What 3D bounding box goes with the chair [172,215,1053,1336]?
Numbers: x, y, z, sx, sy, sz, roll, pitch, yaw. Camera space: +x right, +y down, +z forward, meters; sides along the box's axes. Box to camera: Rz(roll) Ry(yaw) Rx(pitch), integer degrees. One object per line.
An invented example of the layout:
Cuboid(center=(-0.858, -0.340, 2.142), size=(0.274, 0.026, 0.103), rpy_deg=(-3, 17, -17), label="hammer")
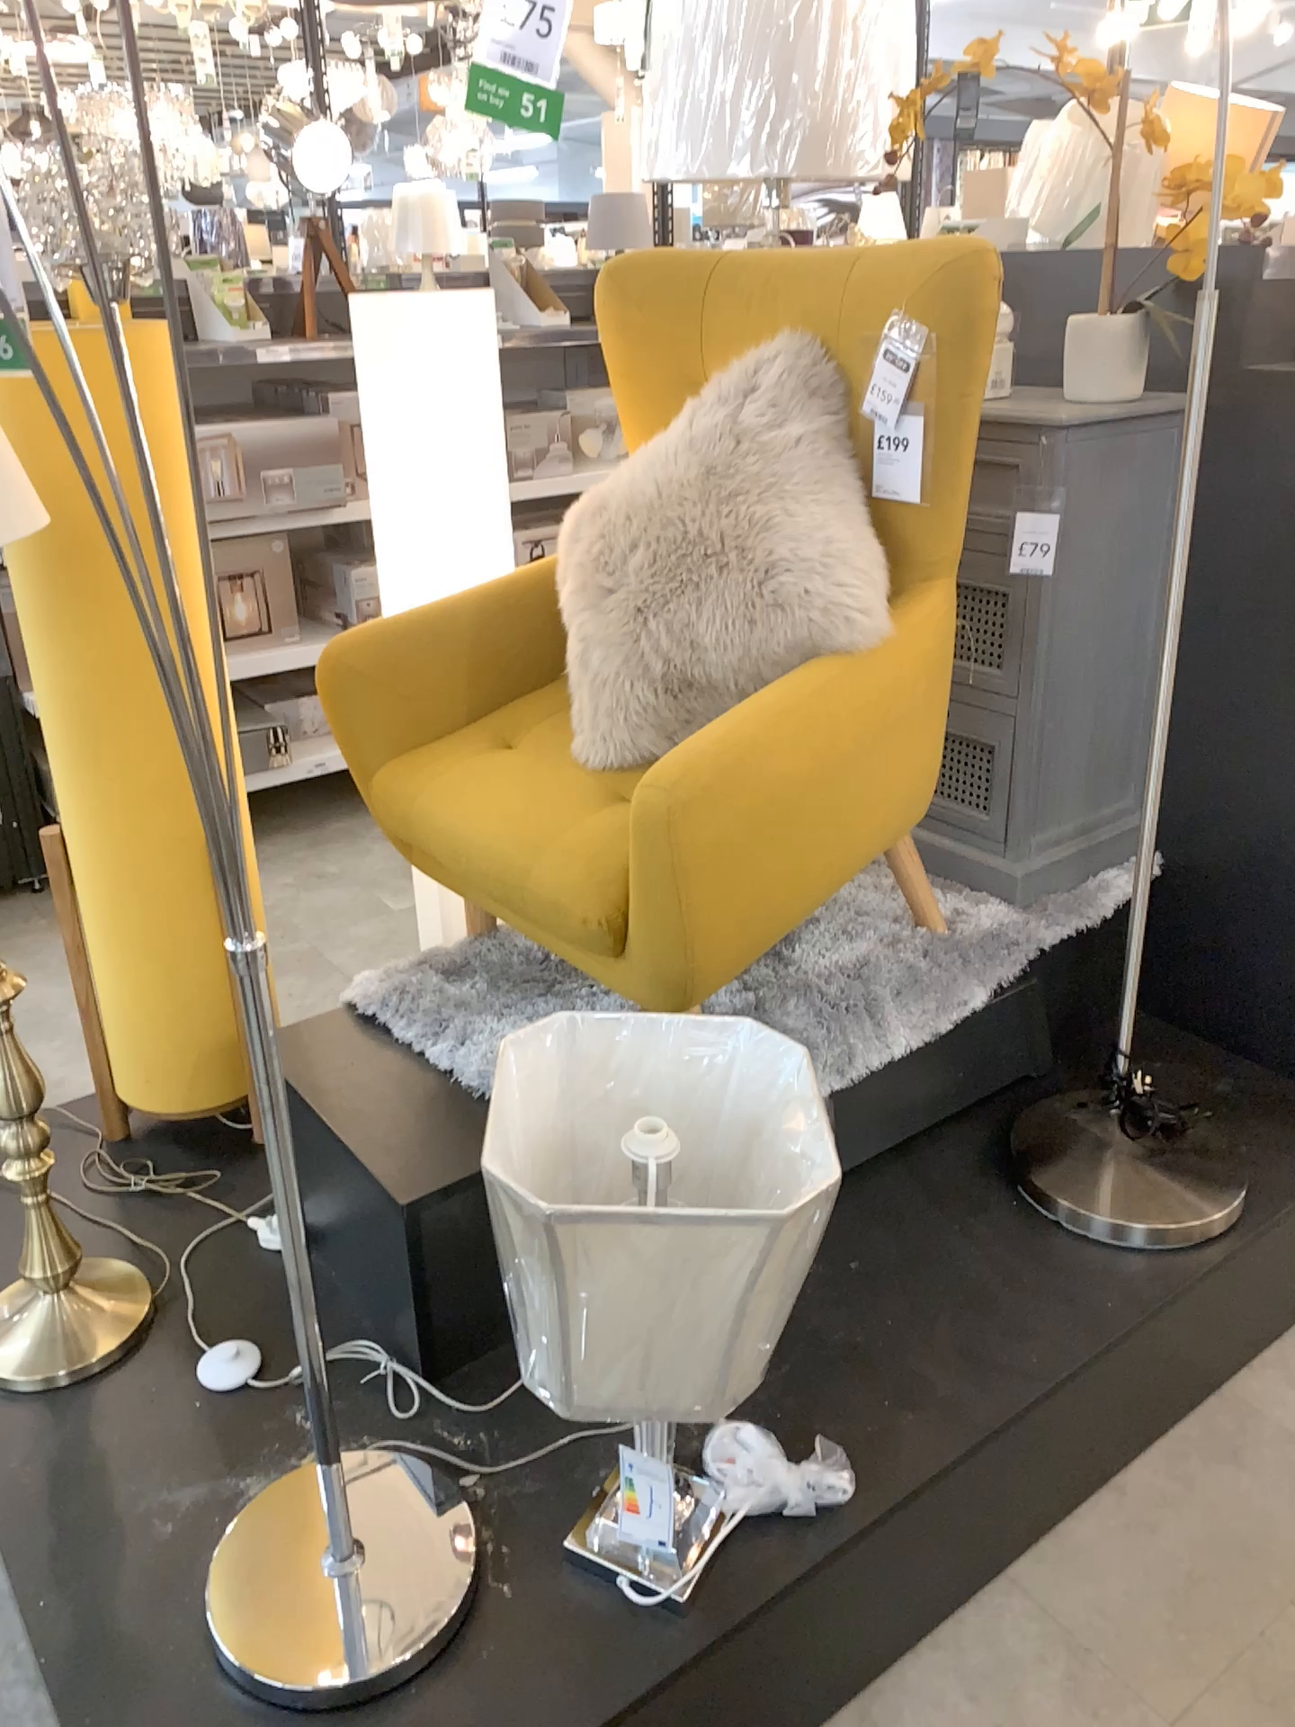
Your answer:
Cuboid(center=(0.027, -0.155, 1.605), size=(0.713, 1.020, 0.593), rpy_deg=(-28, 34, -30), label="chair")
